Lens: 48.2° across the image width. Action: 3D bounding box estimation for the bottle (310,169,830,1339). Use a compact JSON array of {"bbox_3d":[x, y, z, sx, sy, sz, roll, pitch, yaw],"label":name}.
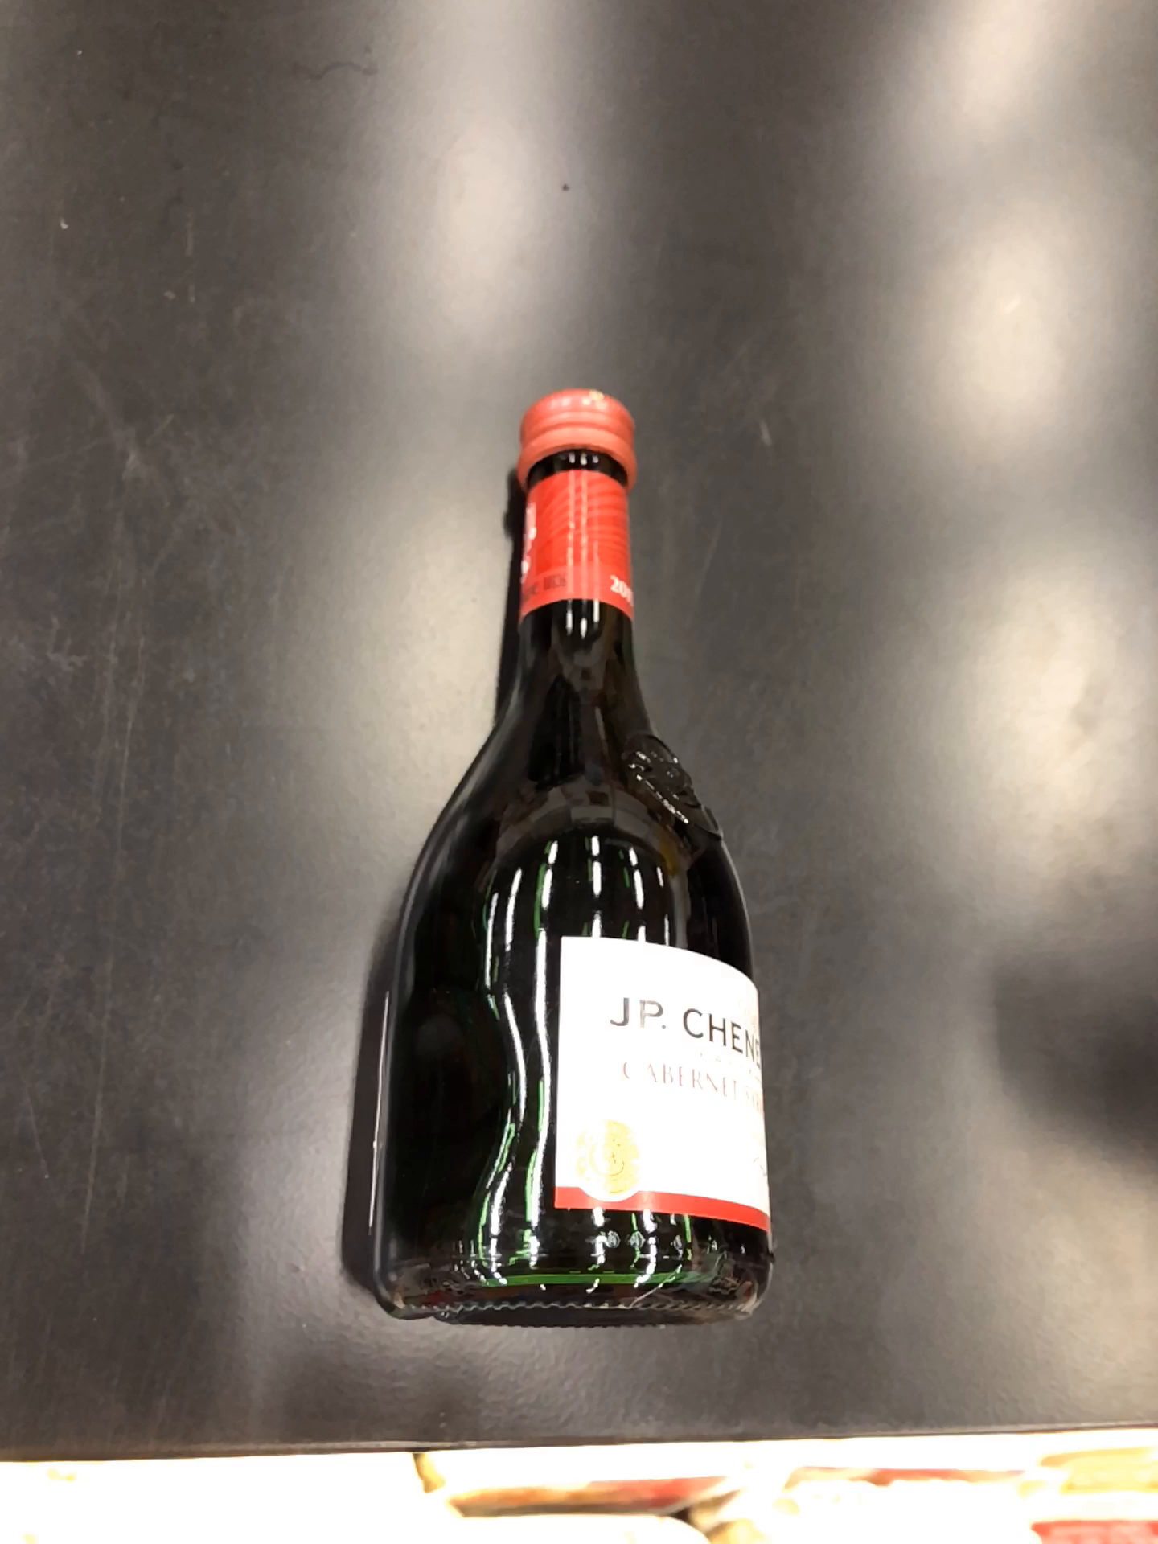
[{"bbox_3d":[-0.005,-0.006,0.238,0.070,0.060,0.200,5,67,-10],"label":"bottle"}]
